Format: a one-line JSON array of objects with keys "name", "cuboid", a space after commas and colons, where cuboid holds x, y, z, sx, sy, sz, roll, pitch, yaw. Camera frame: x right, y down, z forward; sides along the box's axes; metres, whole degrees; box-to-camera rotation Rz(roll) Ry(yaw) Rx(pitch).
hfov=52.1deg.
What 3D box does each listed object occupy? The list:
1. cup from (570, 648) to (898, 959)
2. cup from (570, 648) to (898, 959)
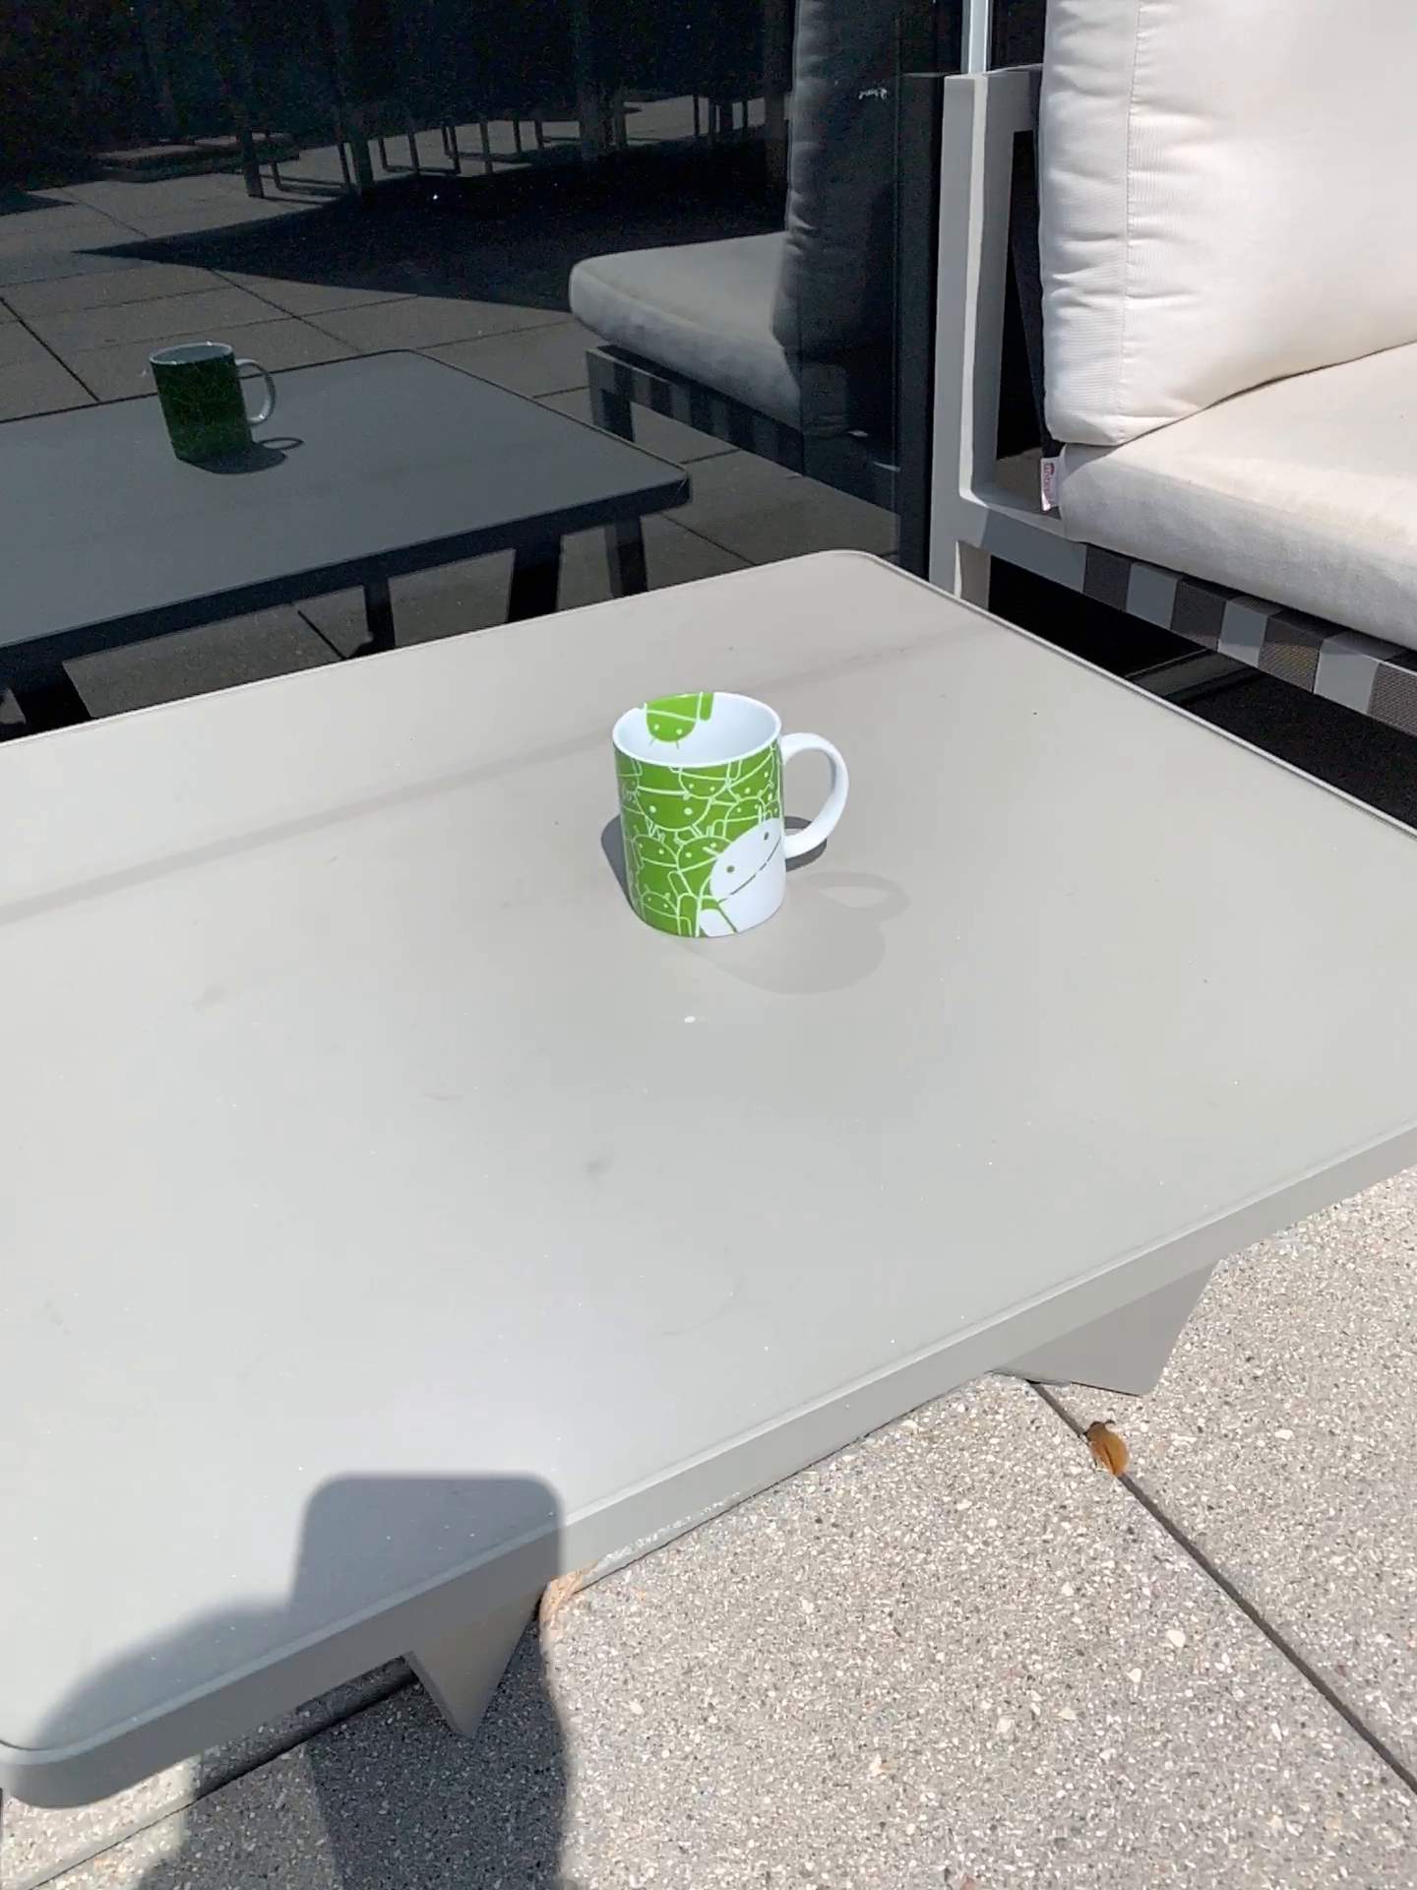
[{"name": "cup", "cuboid": [0.014, -0.072, 0.698, 0.130, 0.090, 0.080, -23, 39, -25]}, {"name": "cup", "cuboid": [0.014, -0.072, 0.698, 0.130, 0.090, 0.080, -23, 39, -25]}]
